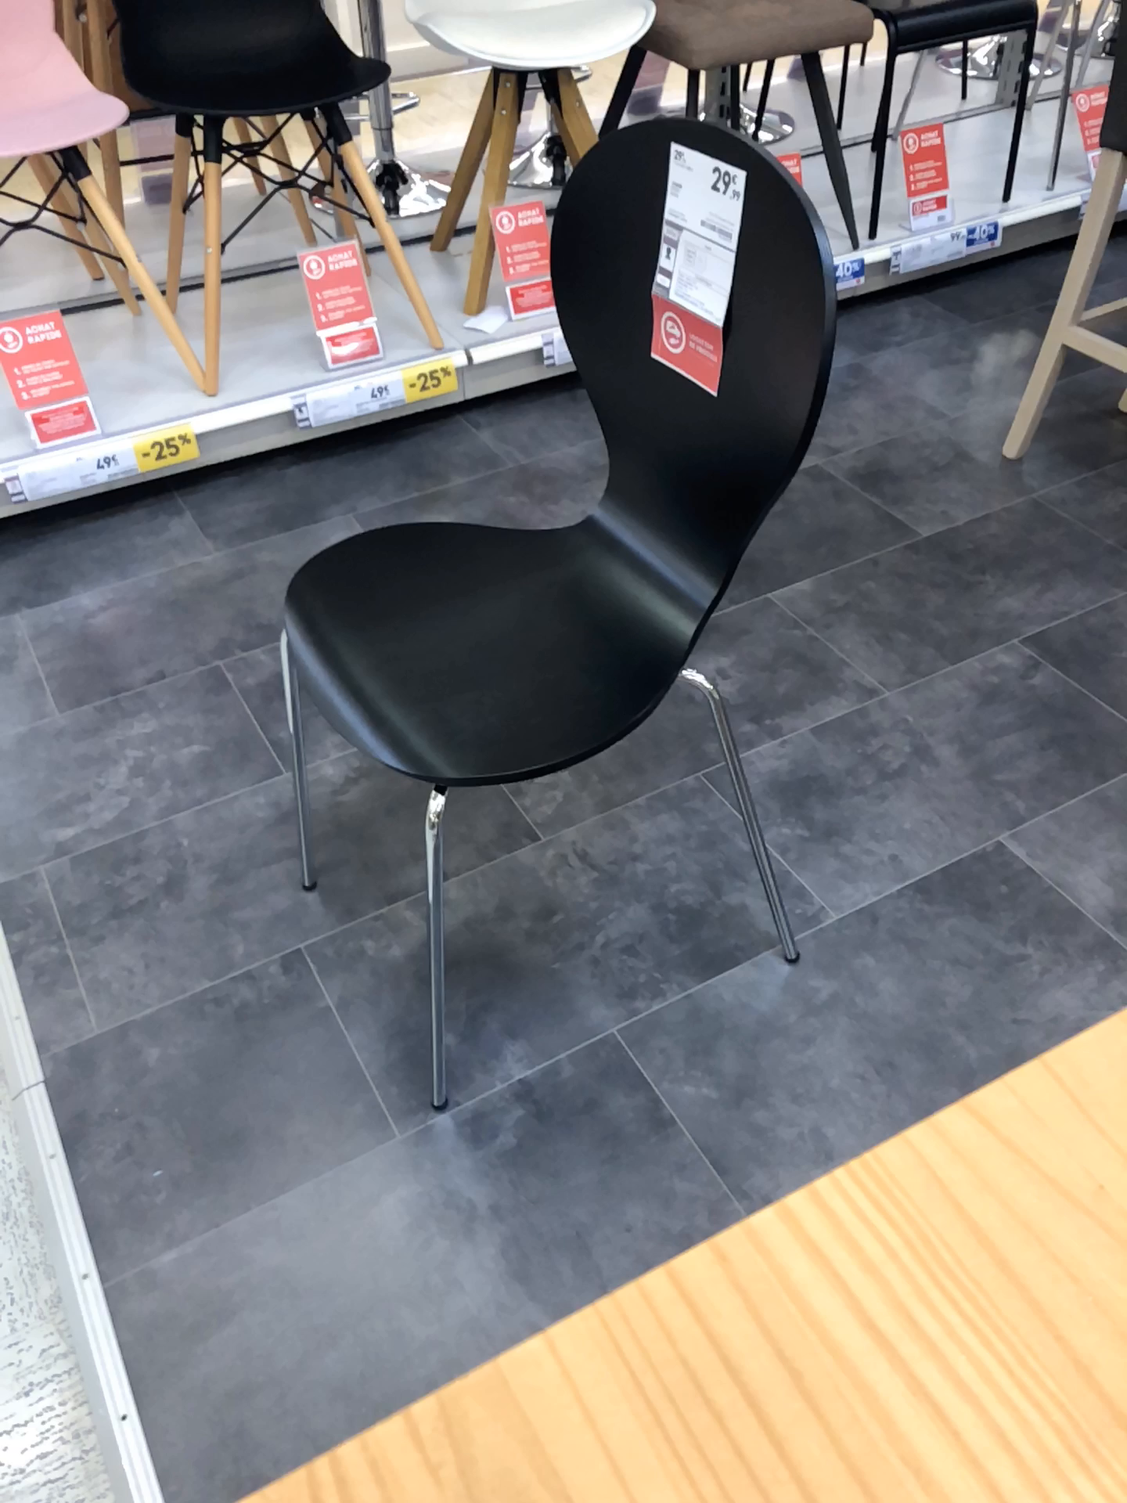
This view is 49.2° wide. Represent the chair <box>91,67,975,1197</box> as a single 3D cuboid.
[{"bbox_3d":[-0.036,-0.102,1.234,0.502,0.895,0.491,-22,45,-22],"label":"chair"}]
